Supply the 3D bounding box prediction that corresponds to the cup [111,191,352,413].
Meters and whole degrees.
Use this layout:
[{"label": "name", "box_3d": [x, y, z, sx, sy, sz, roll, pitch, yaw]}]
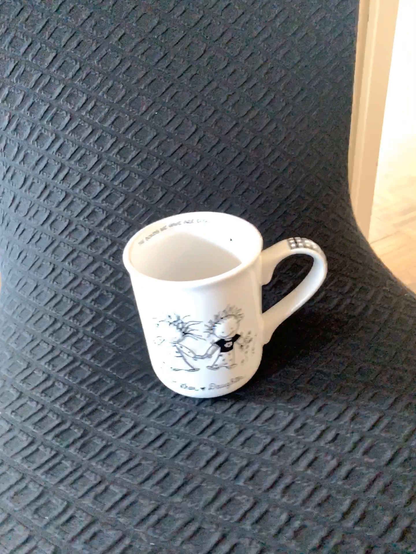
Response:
[{"label": "cup", "box_3d": [0.016, 0.017, 0.320, 0.140, 0.109, 0.101, -7, 37, 0]}]
